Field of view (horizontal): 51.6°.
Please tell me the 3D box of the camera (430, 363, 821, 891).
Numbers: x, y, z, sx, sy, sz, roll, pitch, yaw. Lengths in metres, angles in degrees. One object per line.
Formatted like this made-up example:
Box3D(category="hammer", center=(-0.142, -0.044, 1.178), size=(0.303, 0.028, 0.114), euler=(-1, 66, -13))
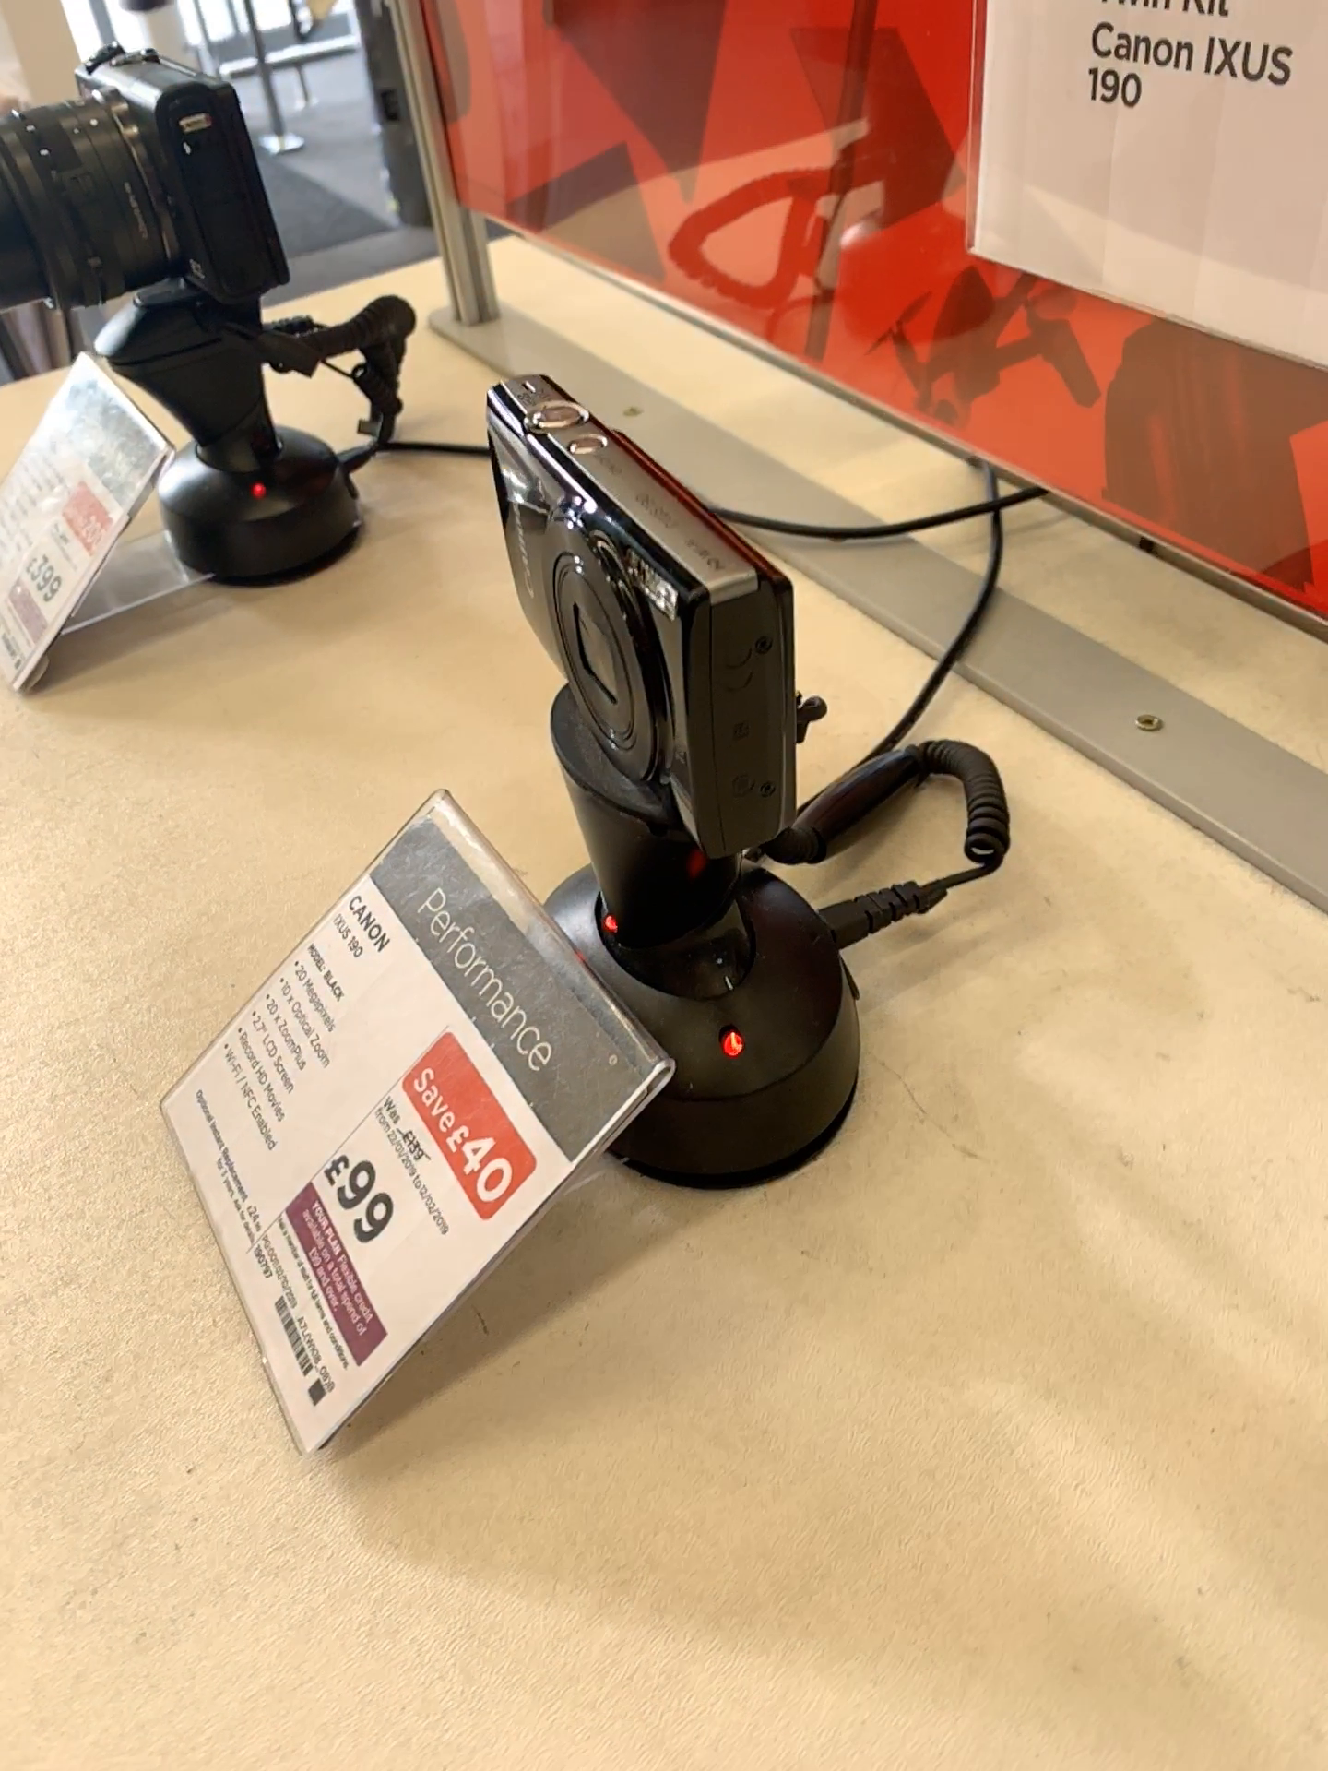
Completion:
Box3D(category="camera", center=(-0.009, -0.052, 0.251), size=(0.030, 0.050, 0.101), euler=(-20, 43, -14))
